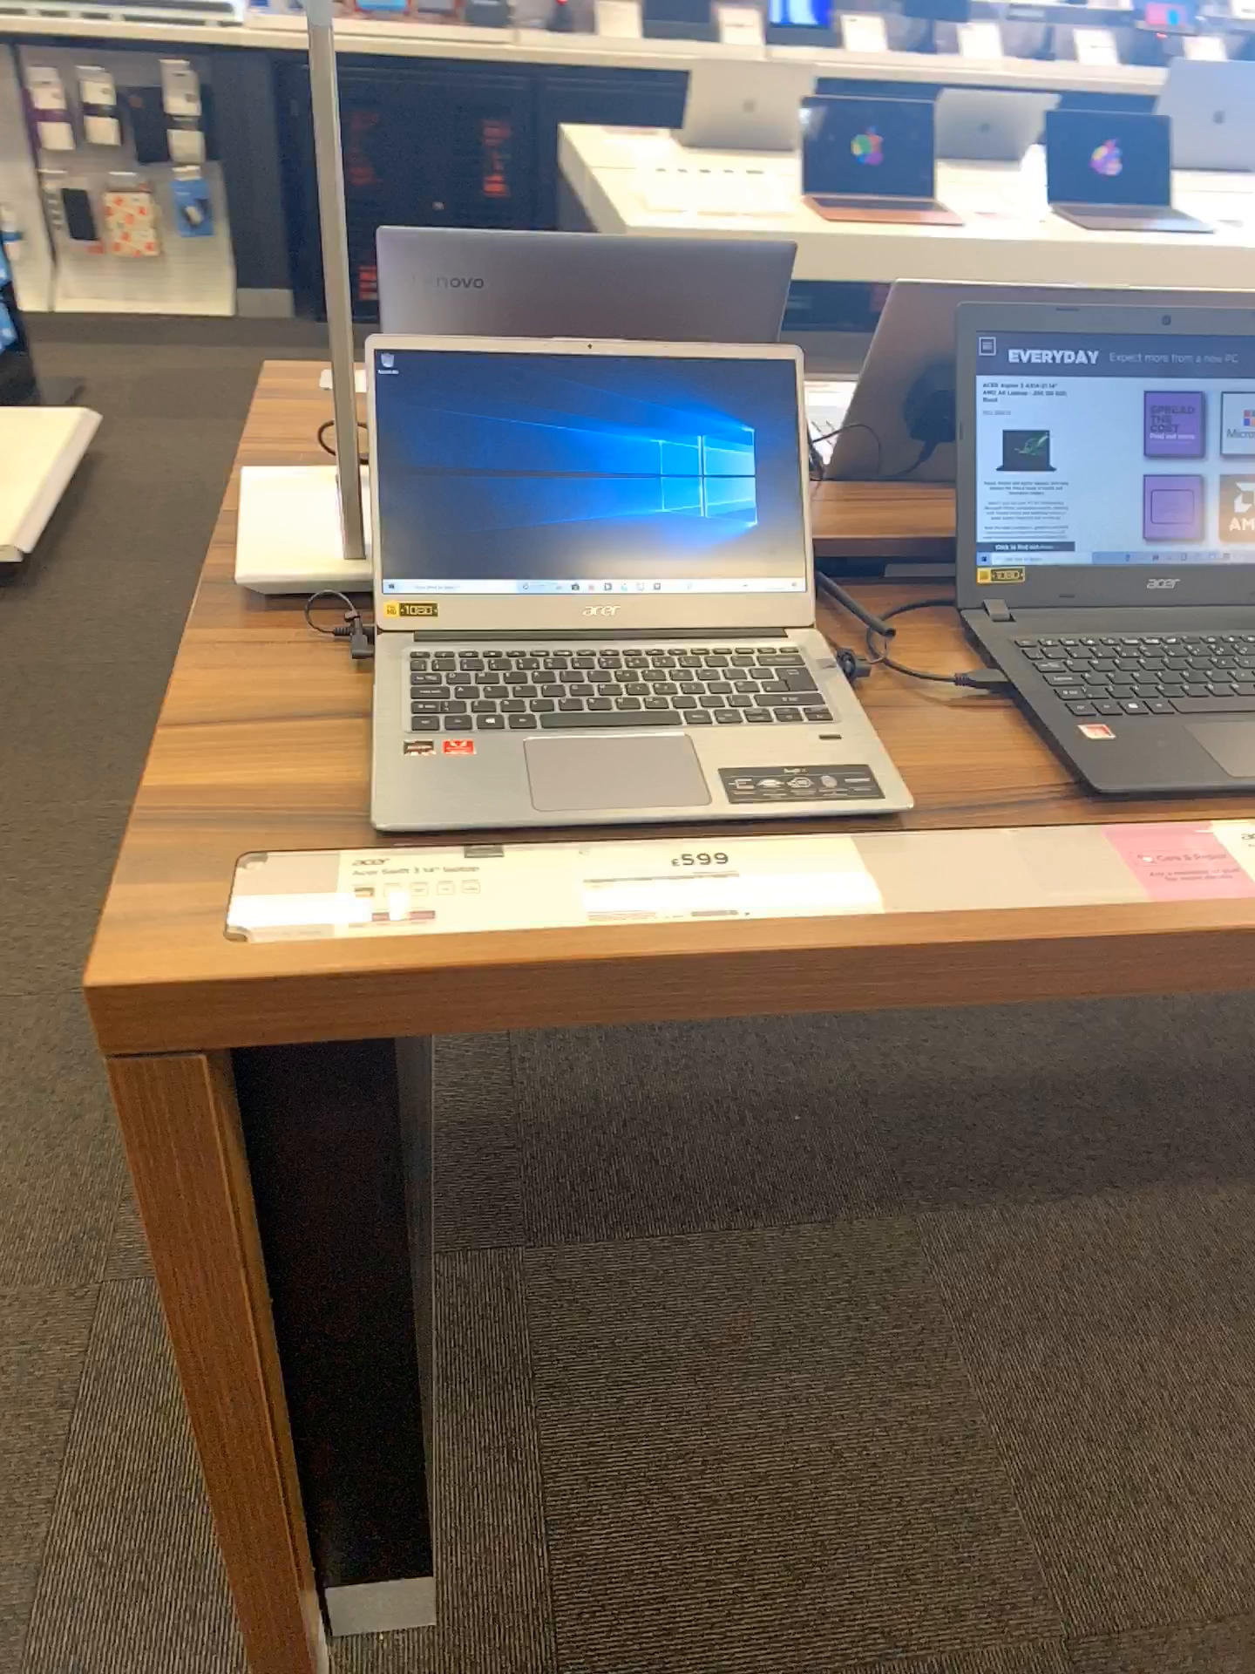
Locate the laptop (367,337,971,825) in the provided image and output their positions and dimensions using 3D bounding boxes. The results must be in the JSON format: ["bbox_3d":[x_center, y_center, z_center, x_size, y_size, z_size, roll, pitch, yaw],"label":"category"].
[{"bbox_3d":[-0.005,-0.184,0.825,0.307,0.153,0.361,-2,37,-10],"label":"laptop"}]

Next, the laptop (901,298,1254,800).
[{"bbox_3d":[0.450,-0.216,0.900,0.371,0.191,0.358,-3,38,-13],"label":"laptop"}]
